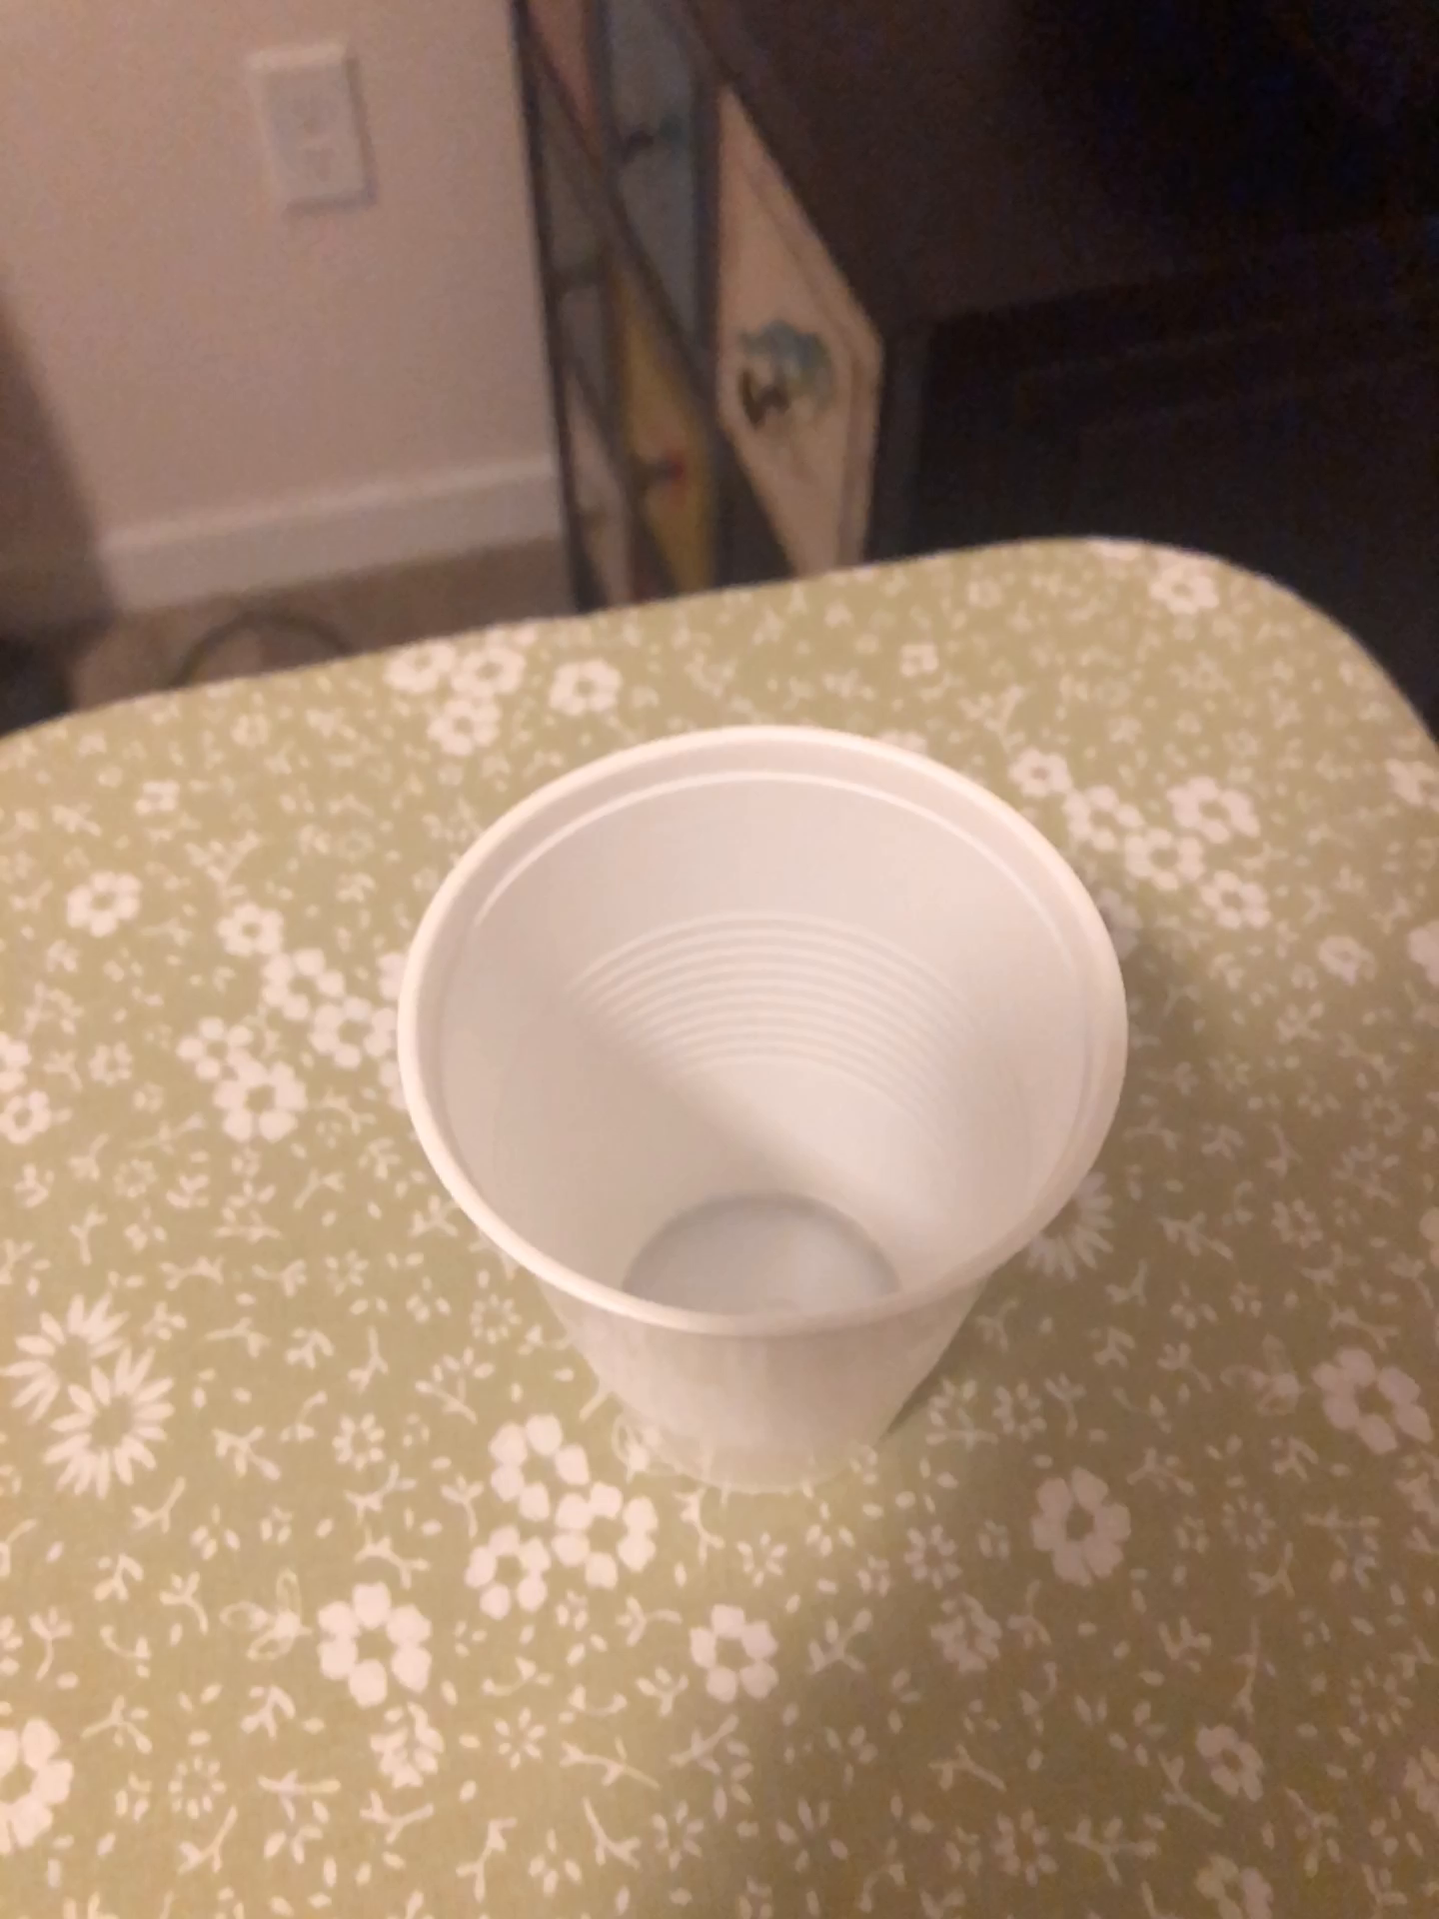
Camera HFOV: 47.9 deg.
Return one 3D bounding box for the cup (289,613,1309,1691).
[{"bbox_3d":[0.007,0.027,0.210,0.078,0.090,0.079,0,55,0],"label":"cup"}]
